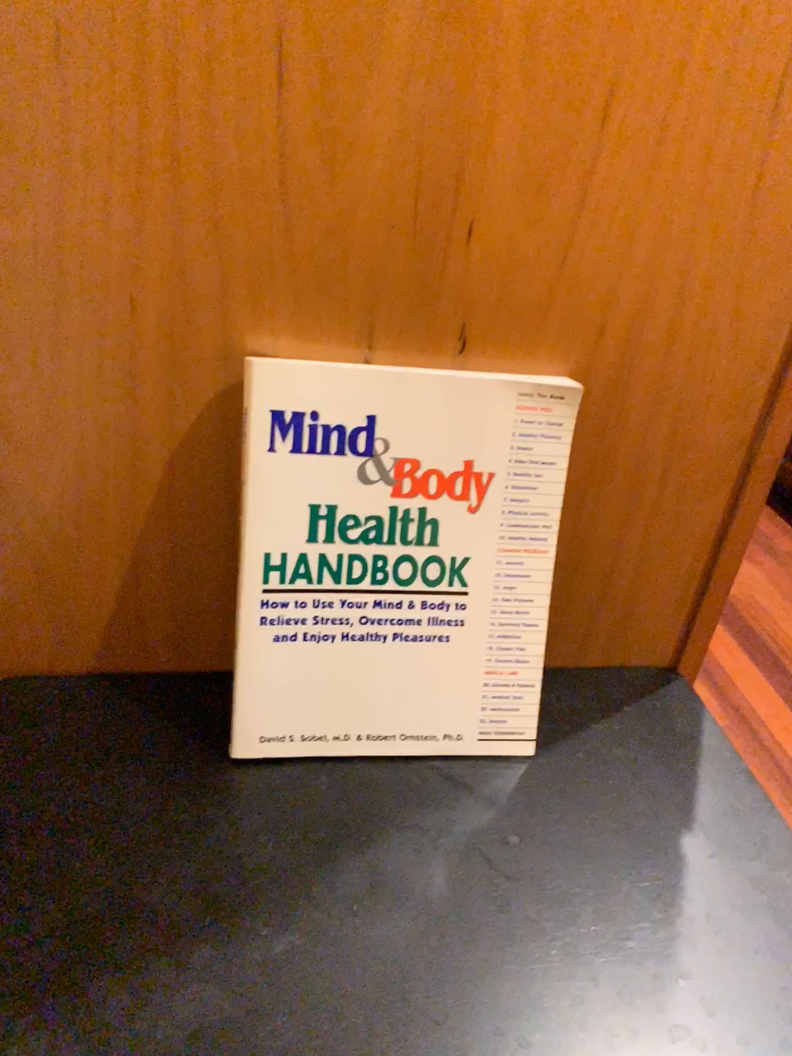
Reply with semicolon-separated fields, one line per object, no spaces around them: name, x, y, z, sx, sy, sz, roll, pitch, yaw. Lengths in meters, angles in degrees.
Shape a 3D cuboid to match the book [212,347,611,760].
book;0.005;0.020;0.476;0.210;0.229;0.040;3;11;-10
